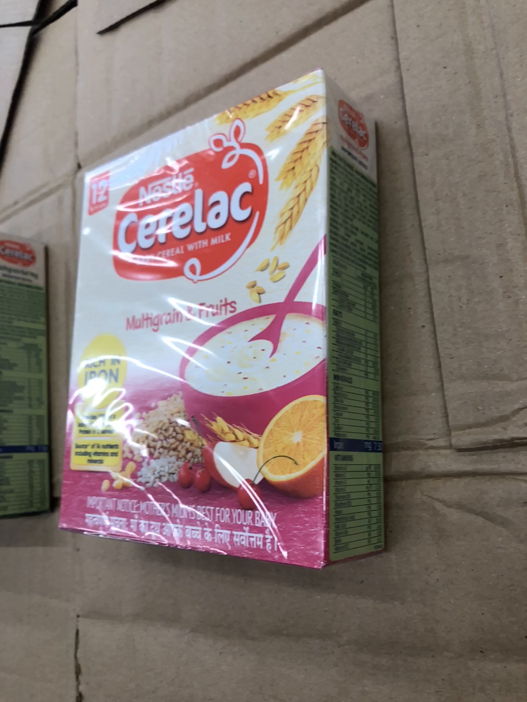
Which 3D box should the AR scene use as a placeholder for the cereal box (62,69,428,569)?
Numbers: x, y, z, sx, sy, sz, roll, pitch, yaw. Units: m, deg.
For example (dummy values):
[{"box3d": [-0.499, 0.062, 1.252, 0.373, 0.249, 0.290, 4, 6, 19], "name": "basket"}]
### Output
[{"box3d": [-0.017, -0.005, 0.264, 0.160, 0.050, 0.170, -8, 78, 38], "name": "cereal box"}]
